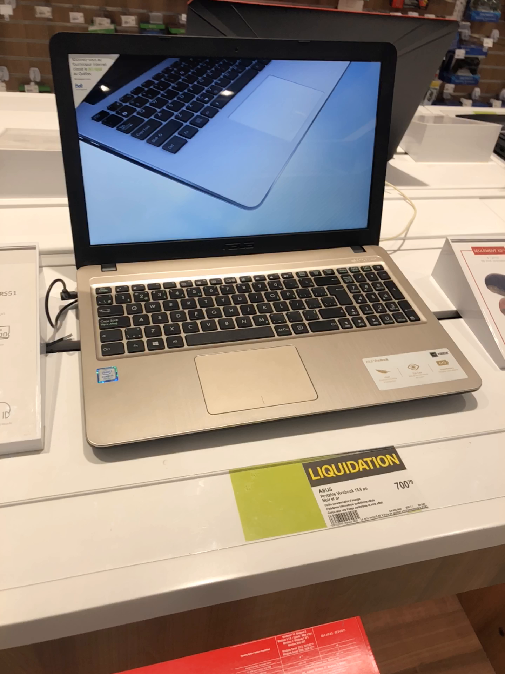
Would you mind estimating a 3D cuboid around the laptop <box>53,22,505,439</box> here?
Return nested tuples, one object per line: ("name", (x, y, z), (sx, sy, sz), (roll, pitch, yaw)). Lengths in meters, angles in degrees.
("laptop", (0.013, -0.130, 0.556), (0.370, 0.204, 0.339), (-6, 46, -16))
